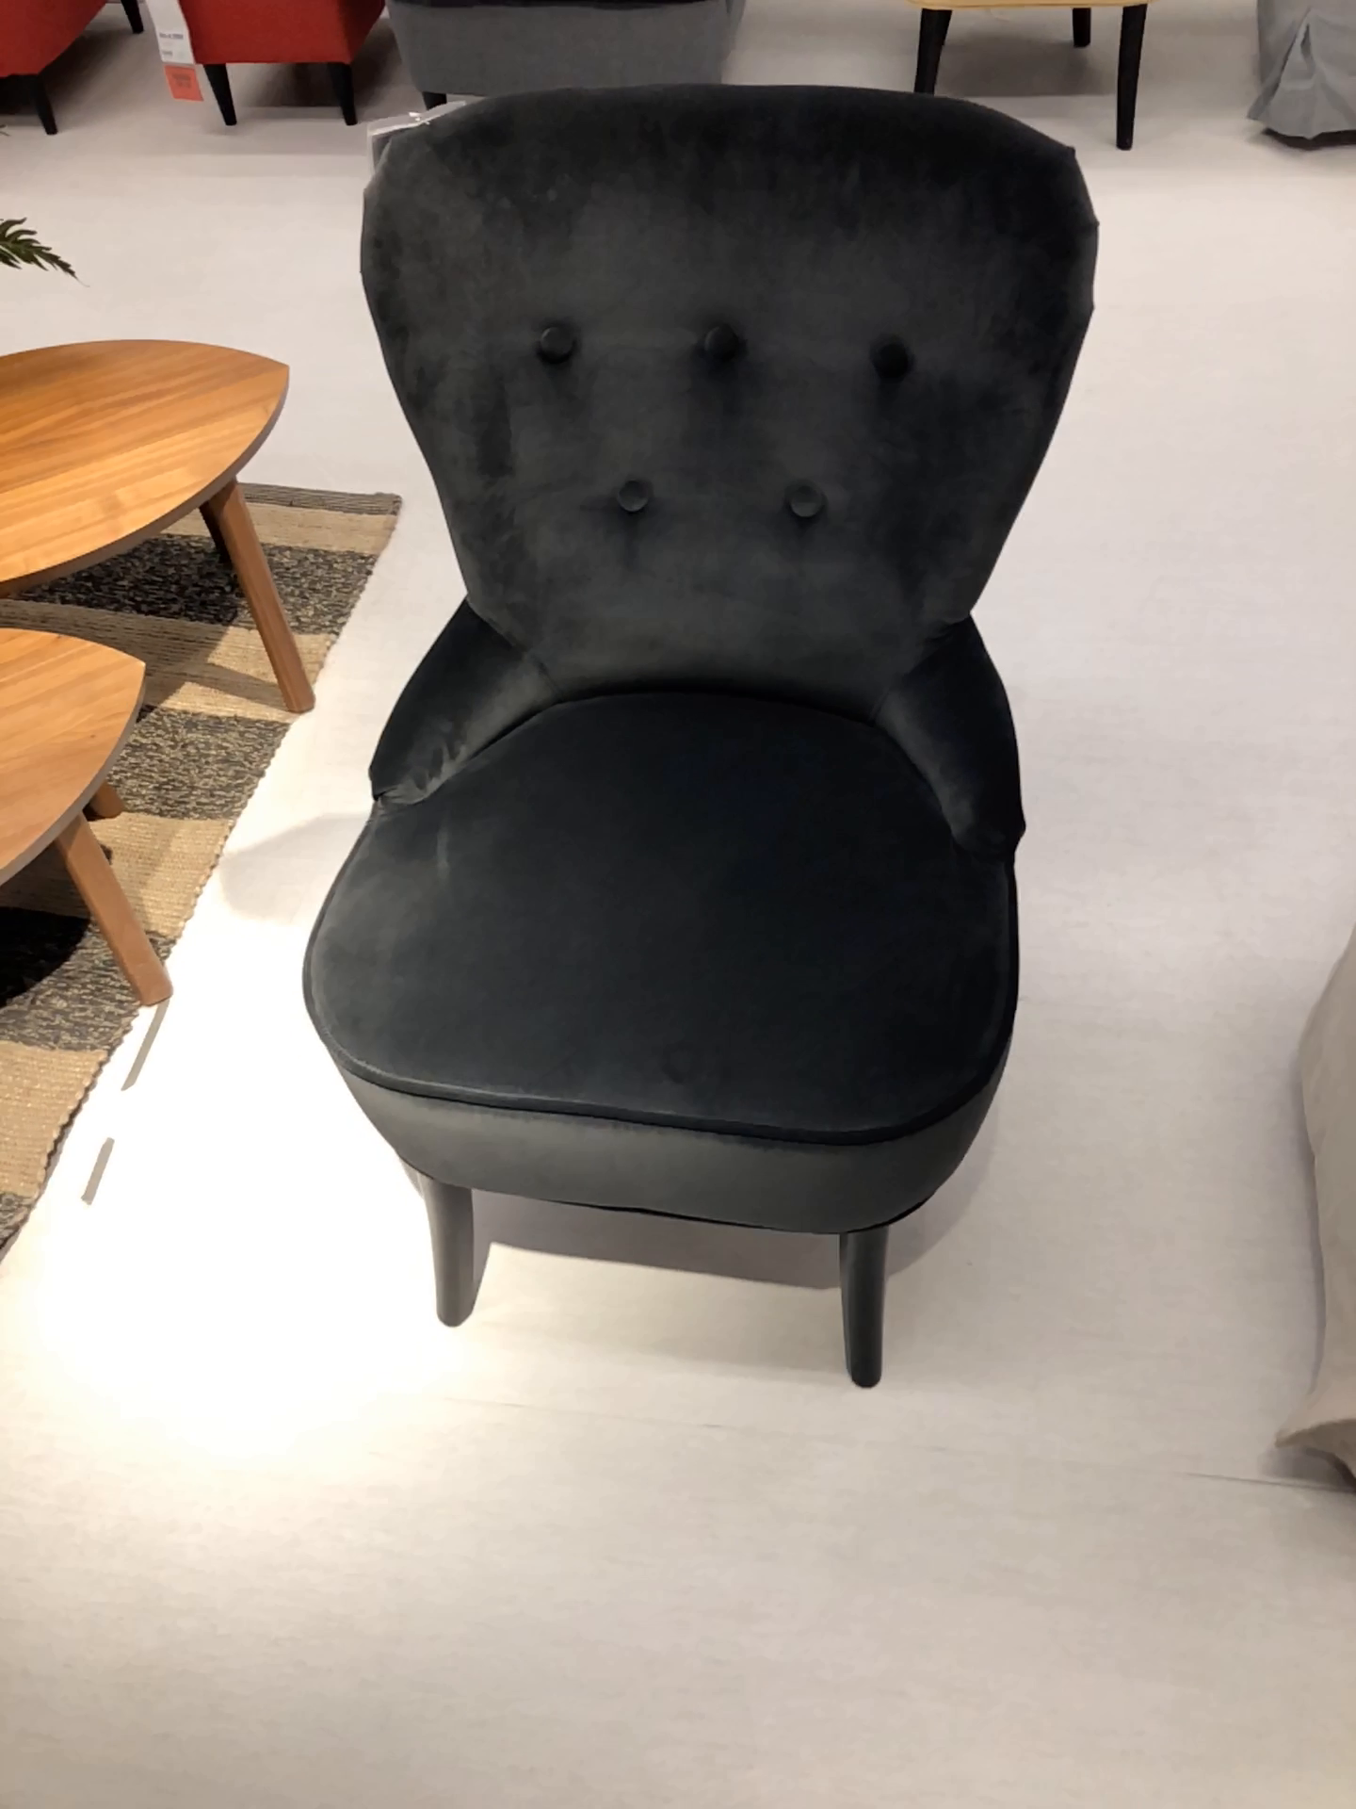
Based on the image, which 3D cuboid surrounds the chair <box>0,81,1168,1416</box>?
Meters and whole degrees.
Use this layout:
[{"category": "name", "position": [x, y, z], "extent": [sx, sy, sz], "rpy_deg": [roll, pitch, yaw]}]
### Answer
[{"category": "chair", "position": [0.012, -0.129, 1.282], "extent": [0.600, 0.775, 0.795], "rpy_deg": [4, 51, 8]}]
